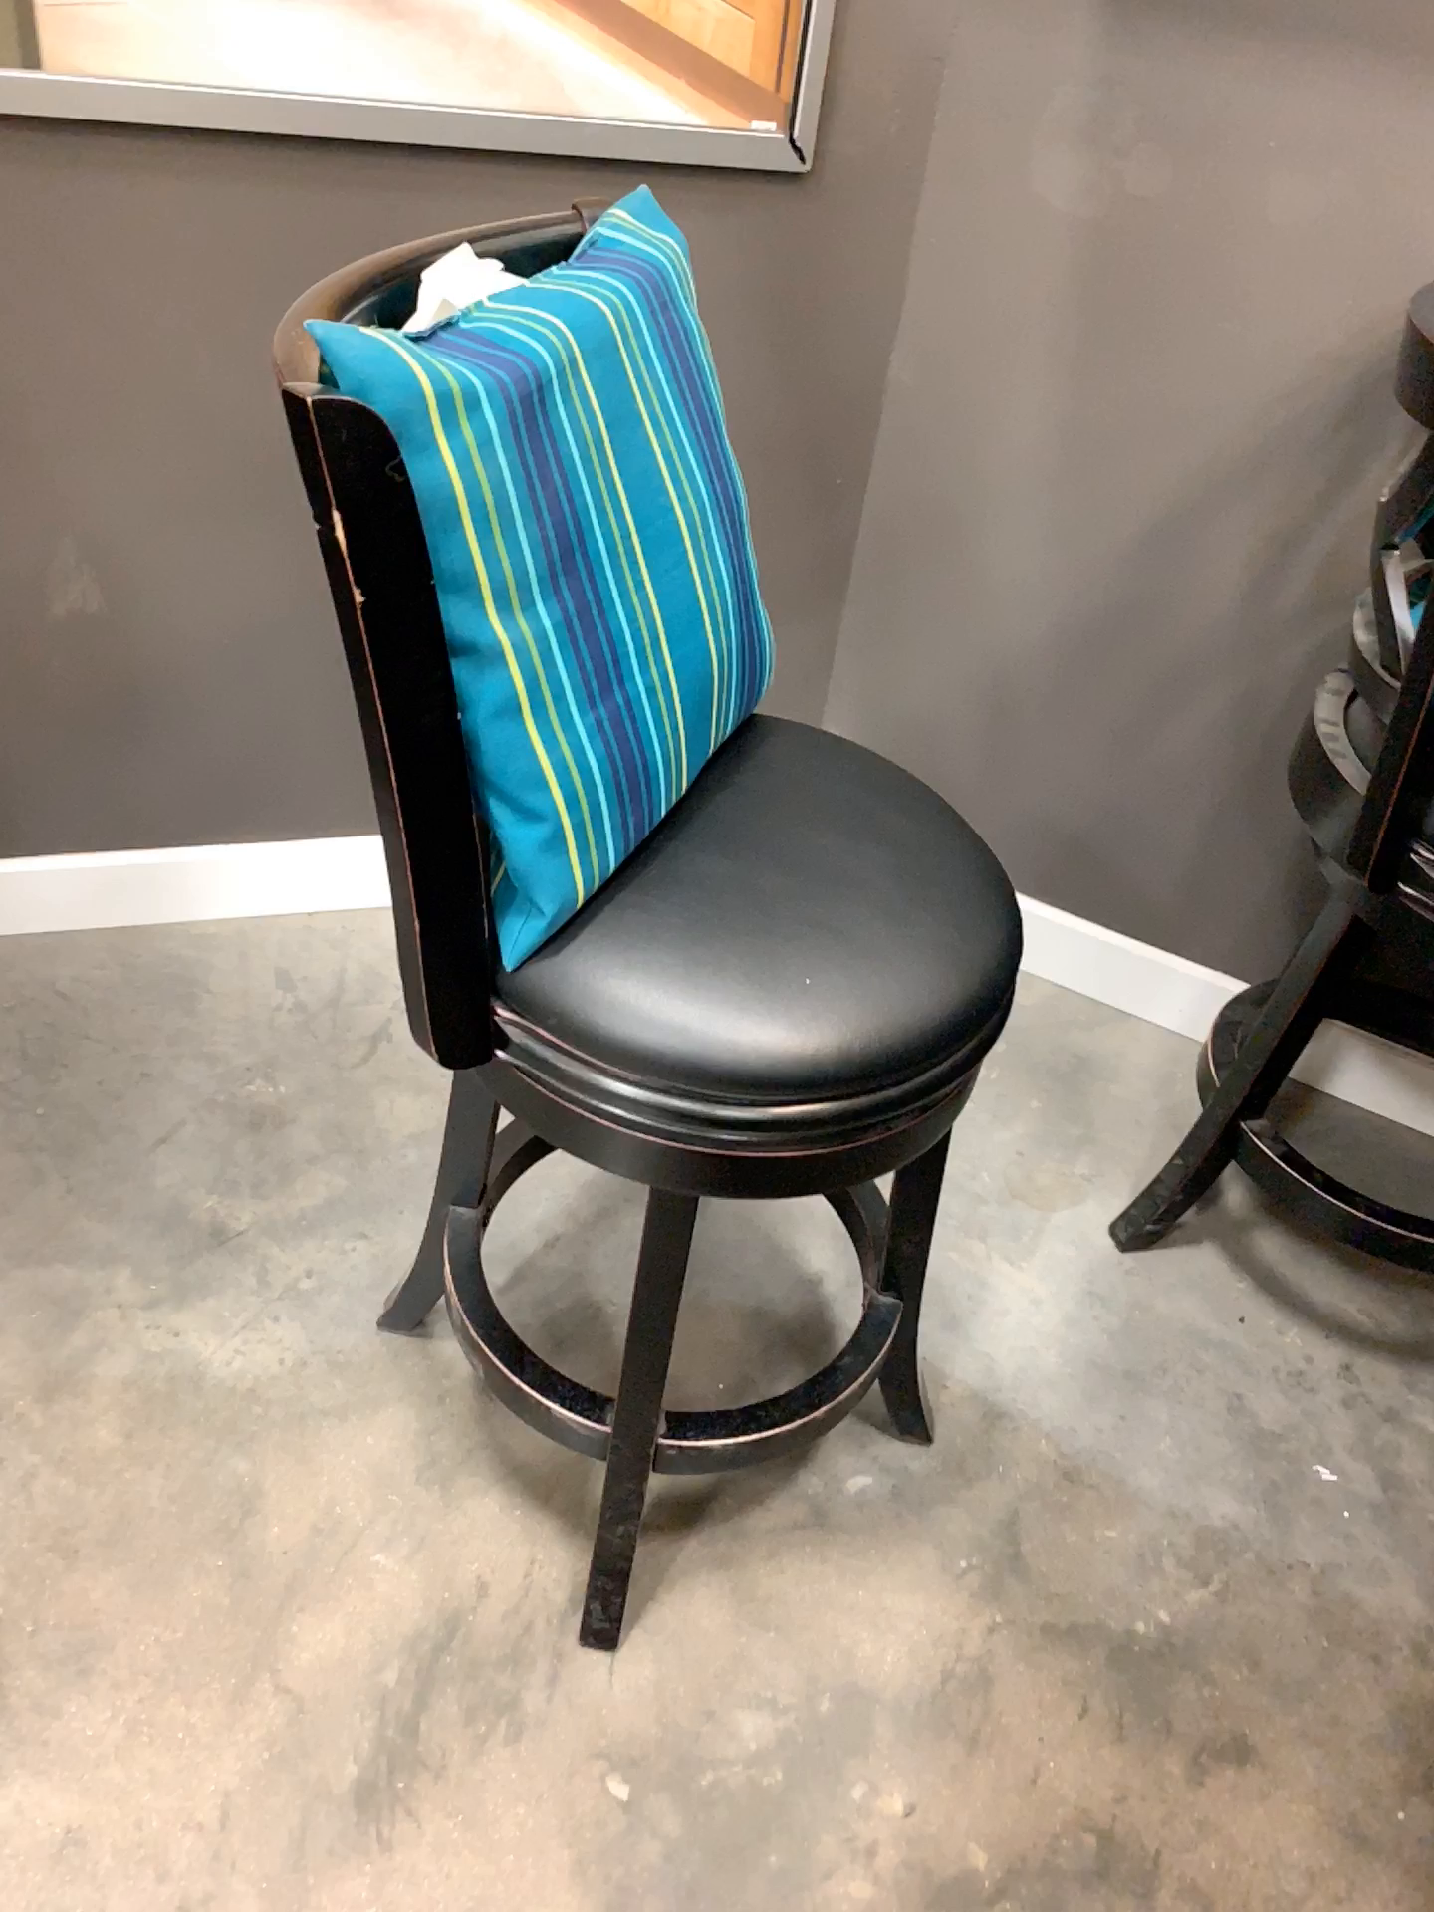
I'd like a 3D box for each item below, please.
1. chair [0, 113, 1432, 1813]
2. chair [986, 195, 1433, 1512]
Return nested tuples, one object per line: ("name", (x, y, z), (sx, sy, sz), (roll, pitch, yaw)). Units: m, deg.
("chair", (-0.025, 0.003, 1.035), (0.596, 0.904, 0.537), (24, 41, 18))
("chair", (0.727, -0.093, 1.353), (0.596, 0.924, 0.537), (24, 41, 18))
